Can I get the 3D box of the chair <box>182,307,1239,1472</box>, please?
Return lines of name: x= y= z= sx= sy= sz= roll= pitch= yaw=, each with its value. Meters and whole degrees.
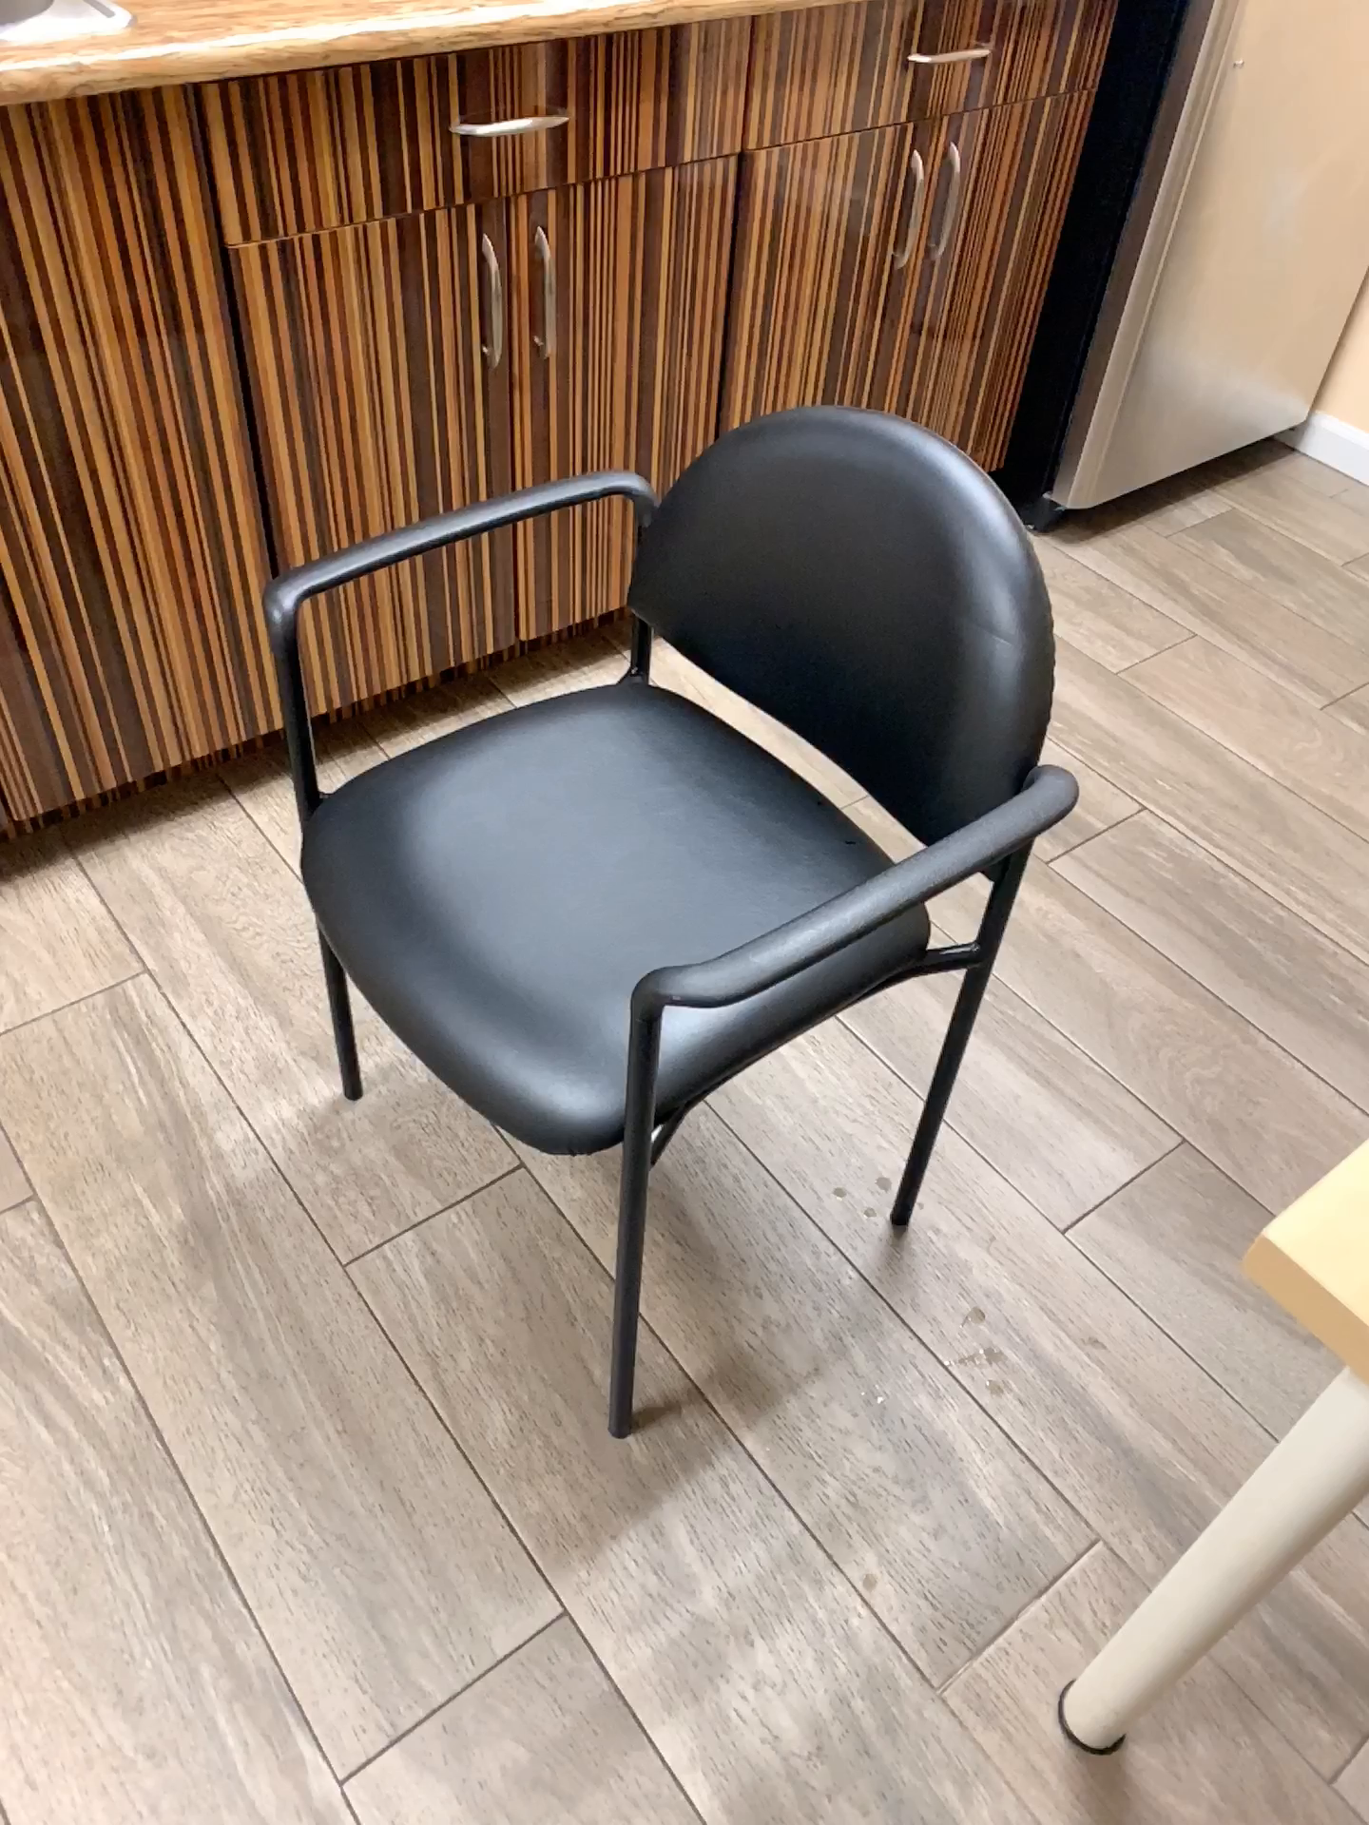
chair: x=-0.015 y=-0.028 z=1.281 sx=0.521 sy=0.736 sz=0.591 roll=-29 pitch=55 yaw=-30
